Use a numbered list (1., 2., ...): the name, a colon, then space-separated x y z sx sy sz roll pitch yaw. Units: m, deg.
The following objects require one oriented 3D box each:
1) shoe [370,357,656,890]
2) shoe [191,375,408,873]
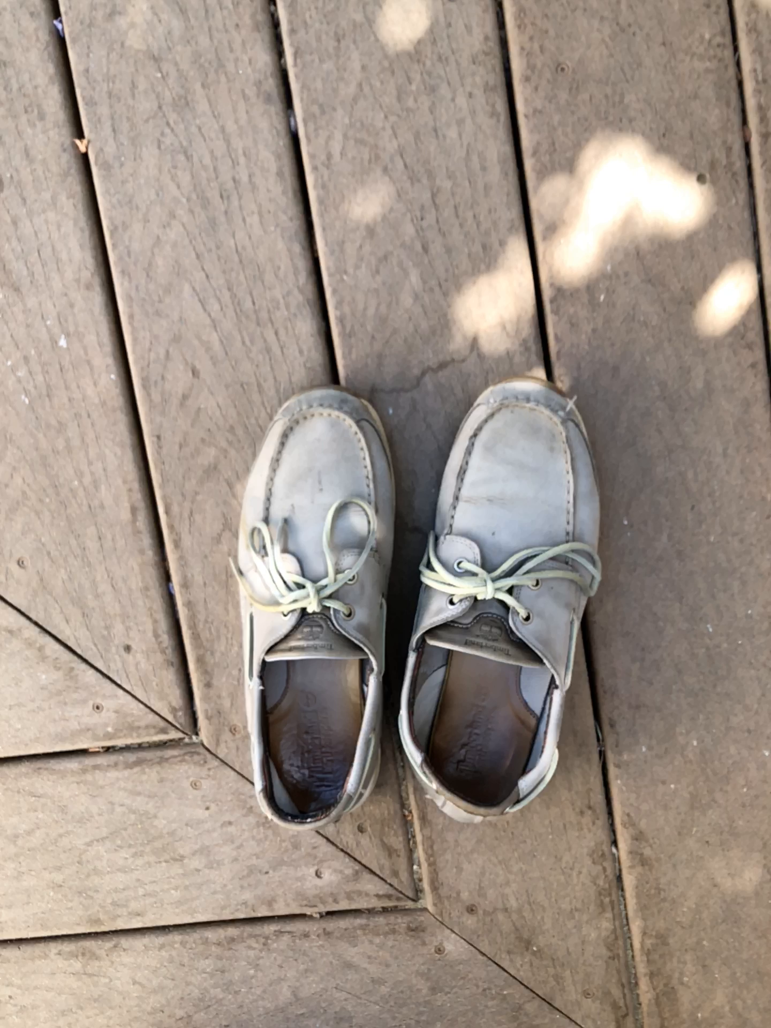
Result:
1. shoe: 0.077 0.065 0.563 0.121 0.098 0.312 9 97 4
2. shoe: -0.050 0.068 0.573 0.119 0.096 0.310 -1 96 5
